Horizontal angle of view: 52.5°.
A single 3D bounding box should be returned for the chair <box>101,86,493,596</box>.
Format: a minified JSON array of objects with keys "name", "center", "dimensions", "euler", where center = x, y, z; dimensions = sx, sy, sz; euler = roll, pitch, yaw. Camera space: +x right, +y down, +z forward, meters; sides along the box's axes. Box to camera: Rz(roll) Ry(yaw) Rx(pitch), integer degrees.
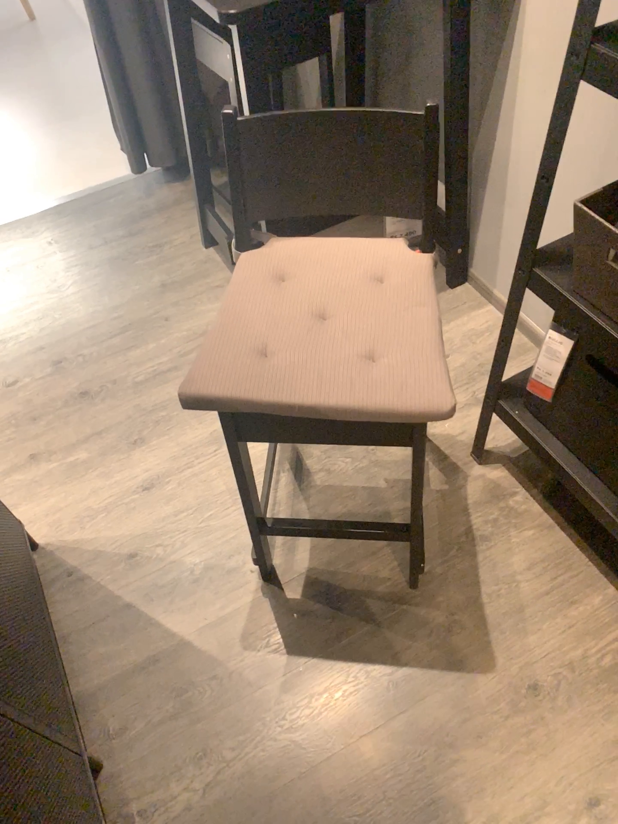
[{"name":"chair","center":[0.032,-0.060,1.233],"dimensions":[0.460,0.887,0.501],"euler":[1,53,6]}]
